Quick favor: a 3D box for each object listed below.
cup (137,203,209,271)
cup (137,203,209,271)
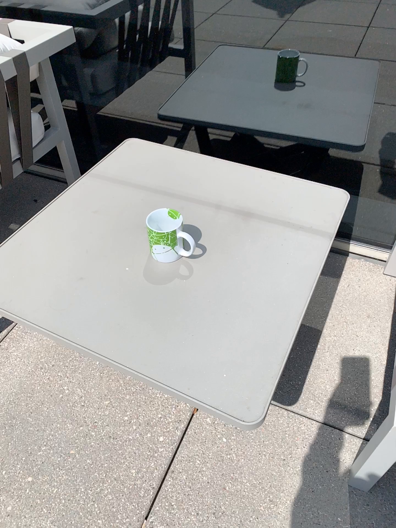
[{"bbox_3d":[-0.051,-0.059,0.879,0.130,0.090,0.080,14,49,15],"label":"cup"},{"bbox_3d":[-0.051,-0.059,0.879,0.130,0.090,0.080,14,49,15],"label":"cup"}]
